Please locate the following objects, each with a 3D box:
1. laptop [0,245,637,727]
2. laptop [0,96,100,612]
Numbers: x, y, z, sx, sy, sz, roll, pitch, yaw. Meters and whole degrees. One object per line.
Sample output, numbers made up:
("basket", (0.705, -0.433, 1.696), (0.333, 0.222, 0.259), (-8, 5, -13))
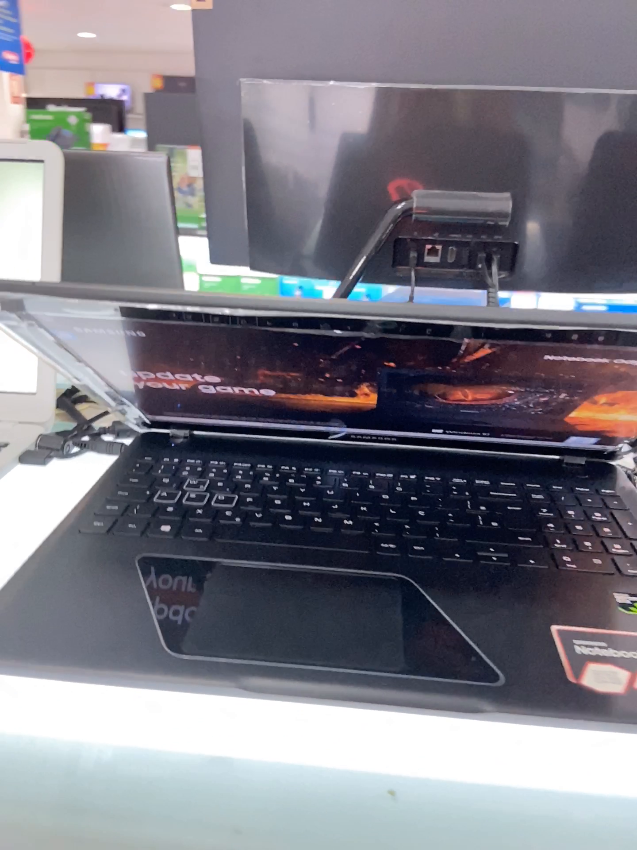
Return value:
("laptop", (0.036, -0.005, 0.373), (0.367, 0.152, 0.259), (4, 20, 5))
("laptop", (-0.439, -0.088, 0.453), (0.431, 0.224, 0.346), (2, 22, 4))
